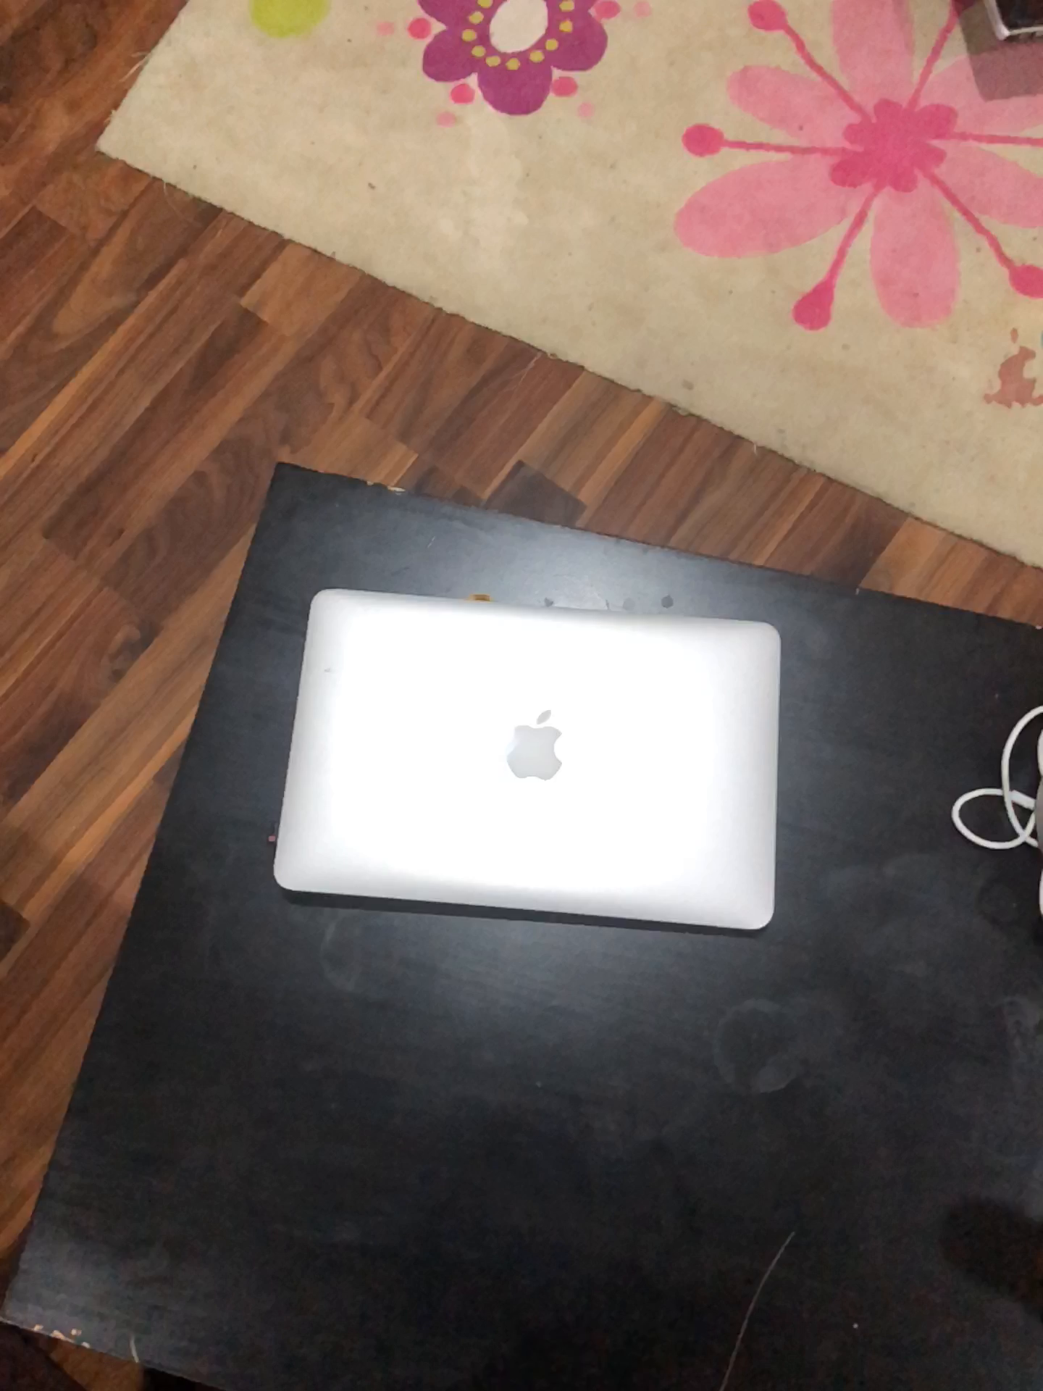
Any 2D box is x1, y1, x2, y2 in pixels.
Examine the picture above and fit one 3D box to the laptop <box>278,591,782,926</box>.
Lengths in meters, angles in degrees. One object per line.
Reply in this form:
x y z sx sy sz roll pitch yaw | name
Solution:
0.009 0.038 0.724 0.300 0.011 0.190 5 80 0 | laptop
